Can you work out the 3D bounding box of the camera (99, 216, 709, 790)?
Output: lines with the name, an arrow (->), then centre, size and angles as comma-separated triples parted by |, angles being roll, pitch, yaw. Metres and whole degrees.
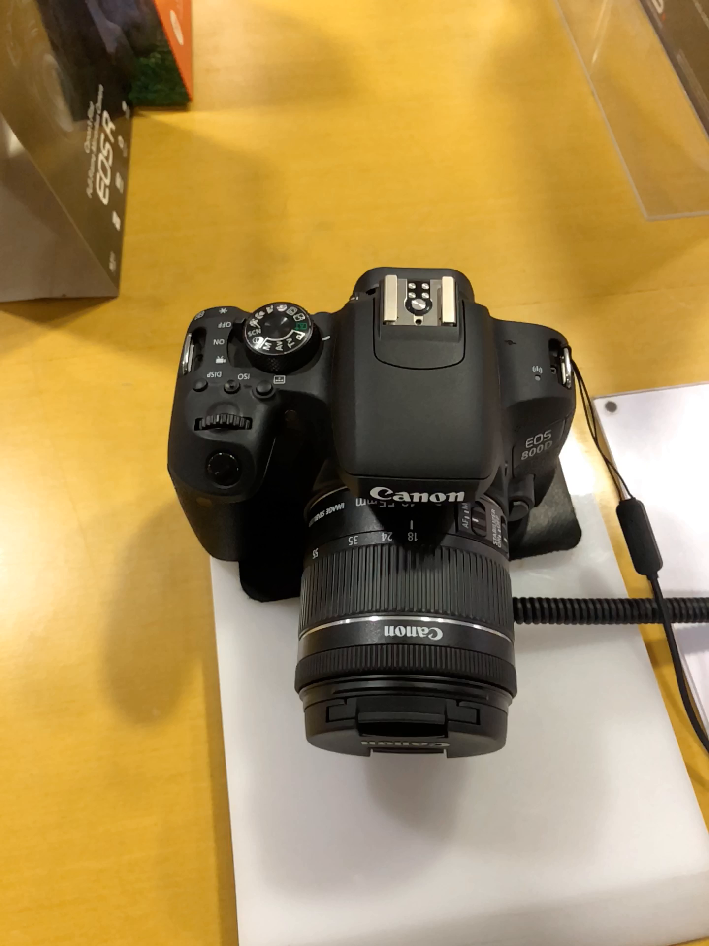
camera -> 0.013, 0.012, 0.220 | 0.120, 0.090, 0.131 | 2, 63, 0
